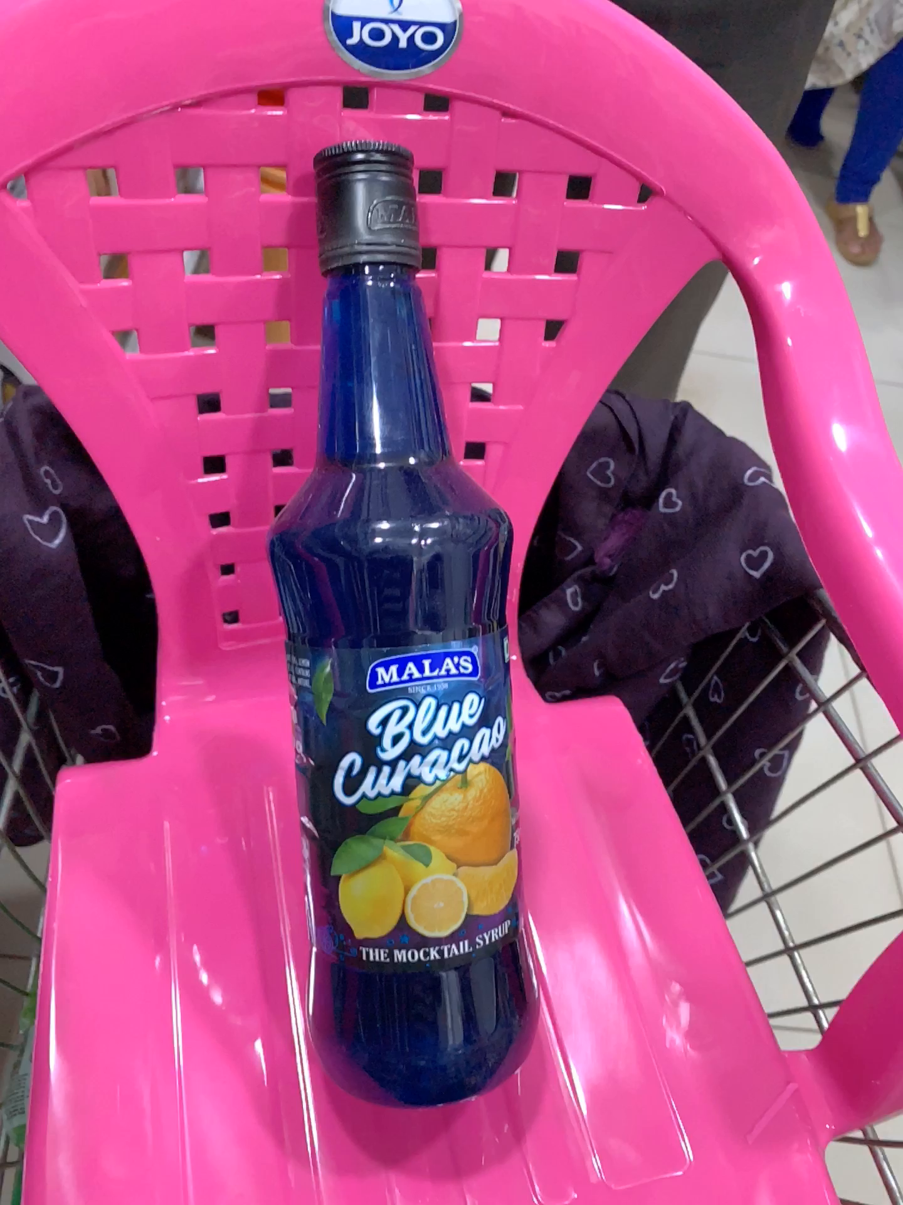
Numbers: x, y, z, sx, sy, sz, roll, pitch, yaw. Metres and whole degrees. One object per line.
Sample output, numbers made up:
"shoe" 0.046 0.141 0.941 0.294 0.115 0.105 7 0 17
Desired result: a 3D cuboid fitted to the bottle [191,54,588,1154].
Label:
"bottle" -0.018 0.004 0.273 0.080 0.270 0.080 -3 11 1
